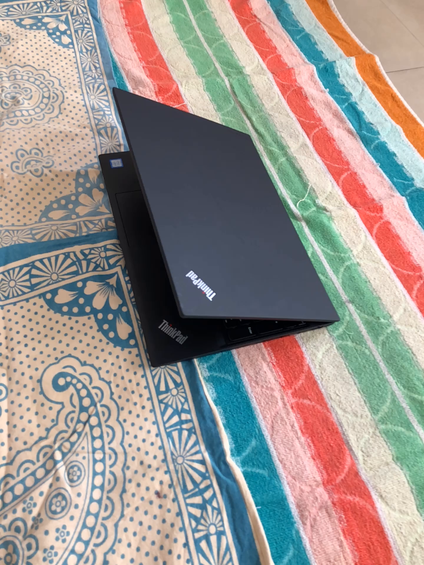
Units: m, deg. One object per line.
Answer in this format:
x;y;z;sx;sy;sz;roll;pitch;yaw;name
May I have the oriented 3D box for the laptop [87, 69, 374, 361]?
0.003;-0.106;0.603;0.243;0.121;0.346;-12;62;-15;laptop
